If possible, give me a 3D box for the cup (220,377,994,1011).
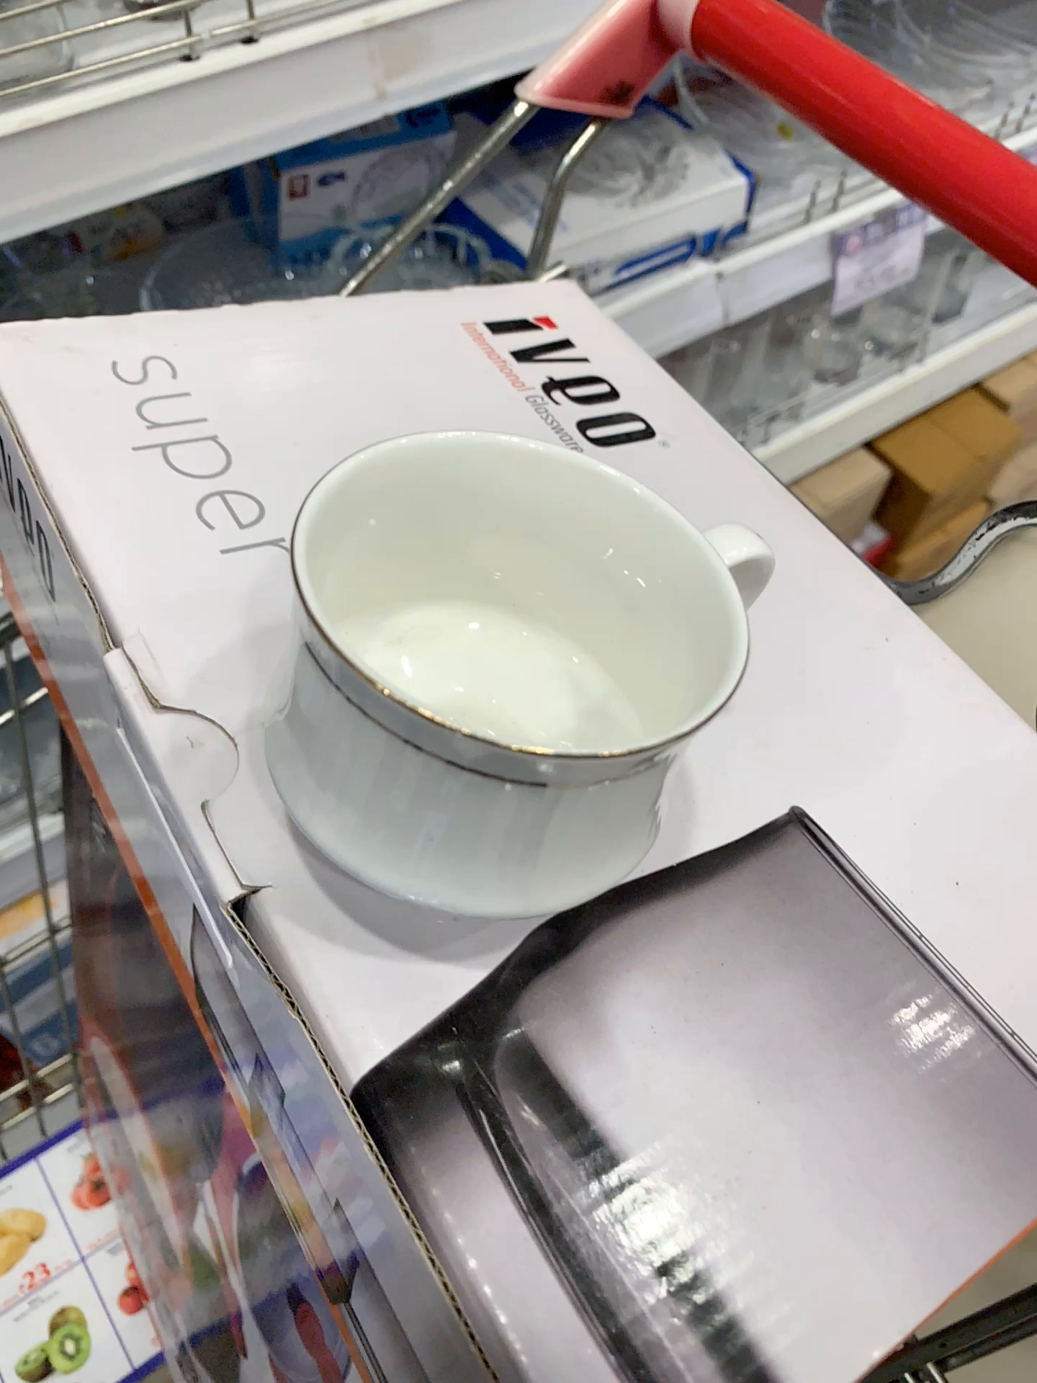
[{"bbox_3d":[0.012,-0.006,0.166,0.090,0.050,0.060,-17,57,-35],"label":"cup"}]
